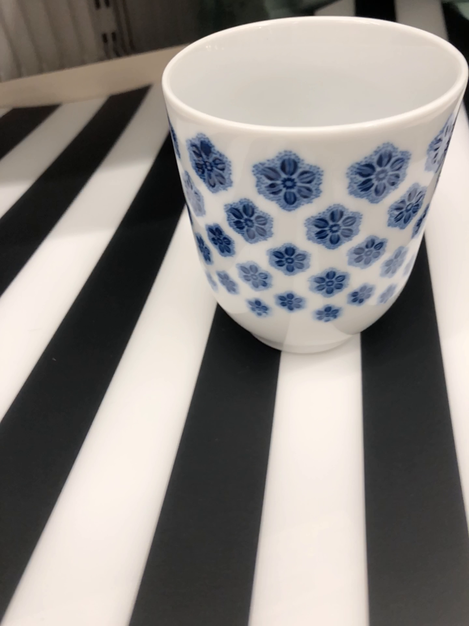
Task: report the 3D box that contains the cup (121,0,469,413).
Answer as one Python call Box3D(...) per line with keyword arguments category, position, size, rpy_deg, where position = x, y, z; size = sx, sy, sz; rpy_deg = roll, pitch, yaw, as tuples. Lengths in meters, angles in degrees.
Box3D(category="cup", position=(0.018, -0.036, 0.156), size=(0.070, 0.080, 0.080), rpy_deg=(-18, 45, -12))
